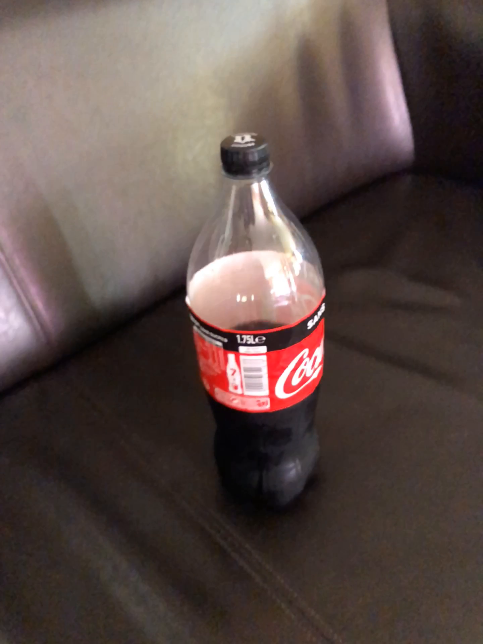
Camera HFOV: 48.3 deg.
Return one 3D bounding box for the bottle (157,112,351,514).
[{"bbox_3d":[0.017,0.017,0.418,0.100,0.318,0.101,-2,40,2],"label":"bottle"}]
